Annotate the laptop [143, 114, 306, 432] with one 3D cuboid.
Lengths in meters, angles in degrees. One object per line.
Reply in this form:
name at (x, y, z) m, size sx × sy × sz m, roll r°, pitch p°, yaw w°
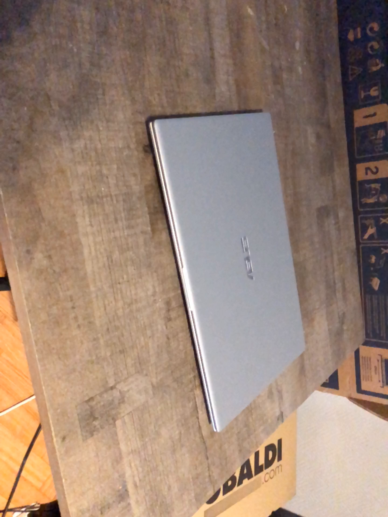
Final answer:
laptop at (0.062, 0.002, 0.546) m, size 0.229 × 0.013 × 0.354 m, roll -25°, pitch 108°, yaw -46°
